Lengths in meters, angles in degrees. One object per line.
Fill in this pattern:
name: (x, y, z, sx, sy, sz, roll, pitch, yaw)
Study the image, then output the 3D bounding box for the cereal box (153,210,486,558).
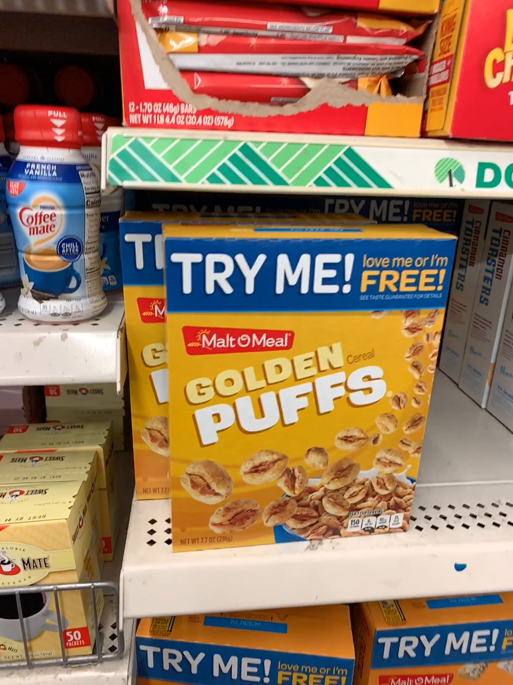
cereal box: (0.032, 0.027, 0.358, 0.190, 0.219, 0.060, -2, 21, -9)
